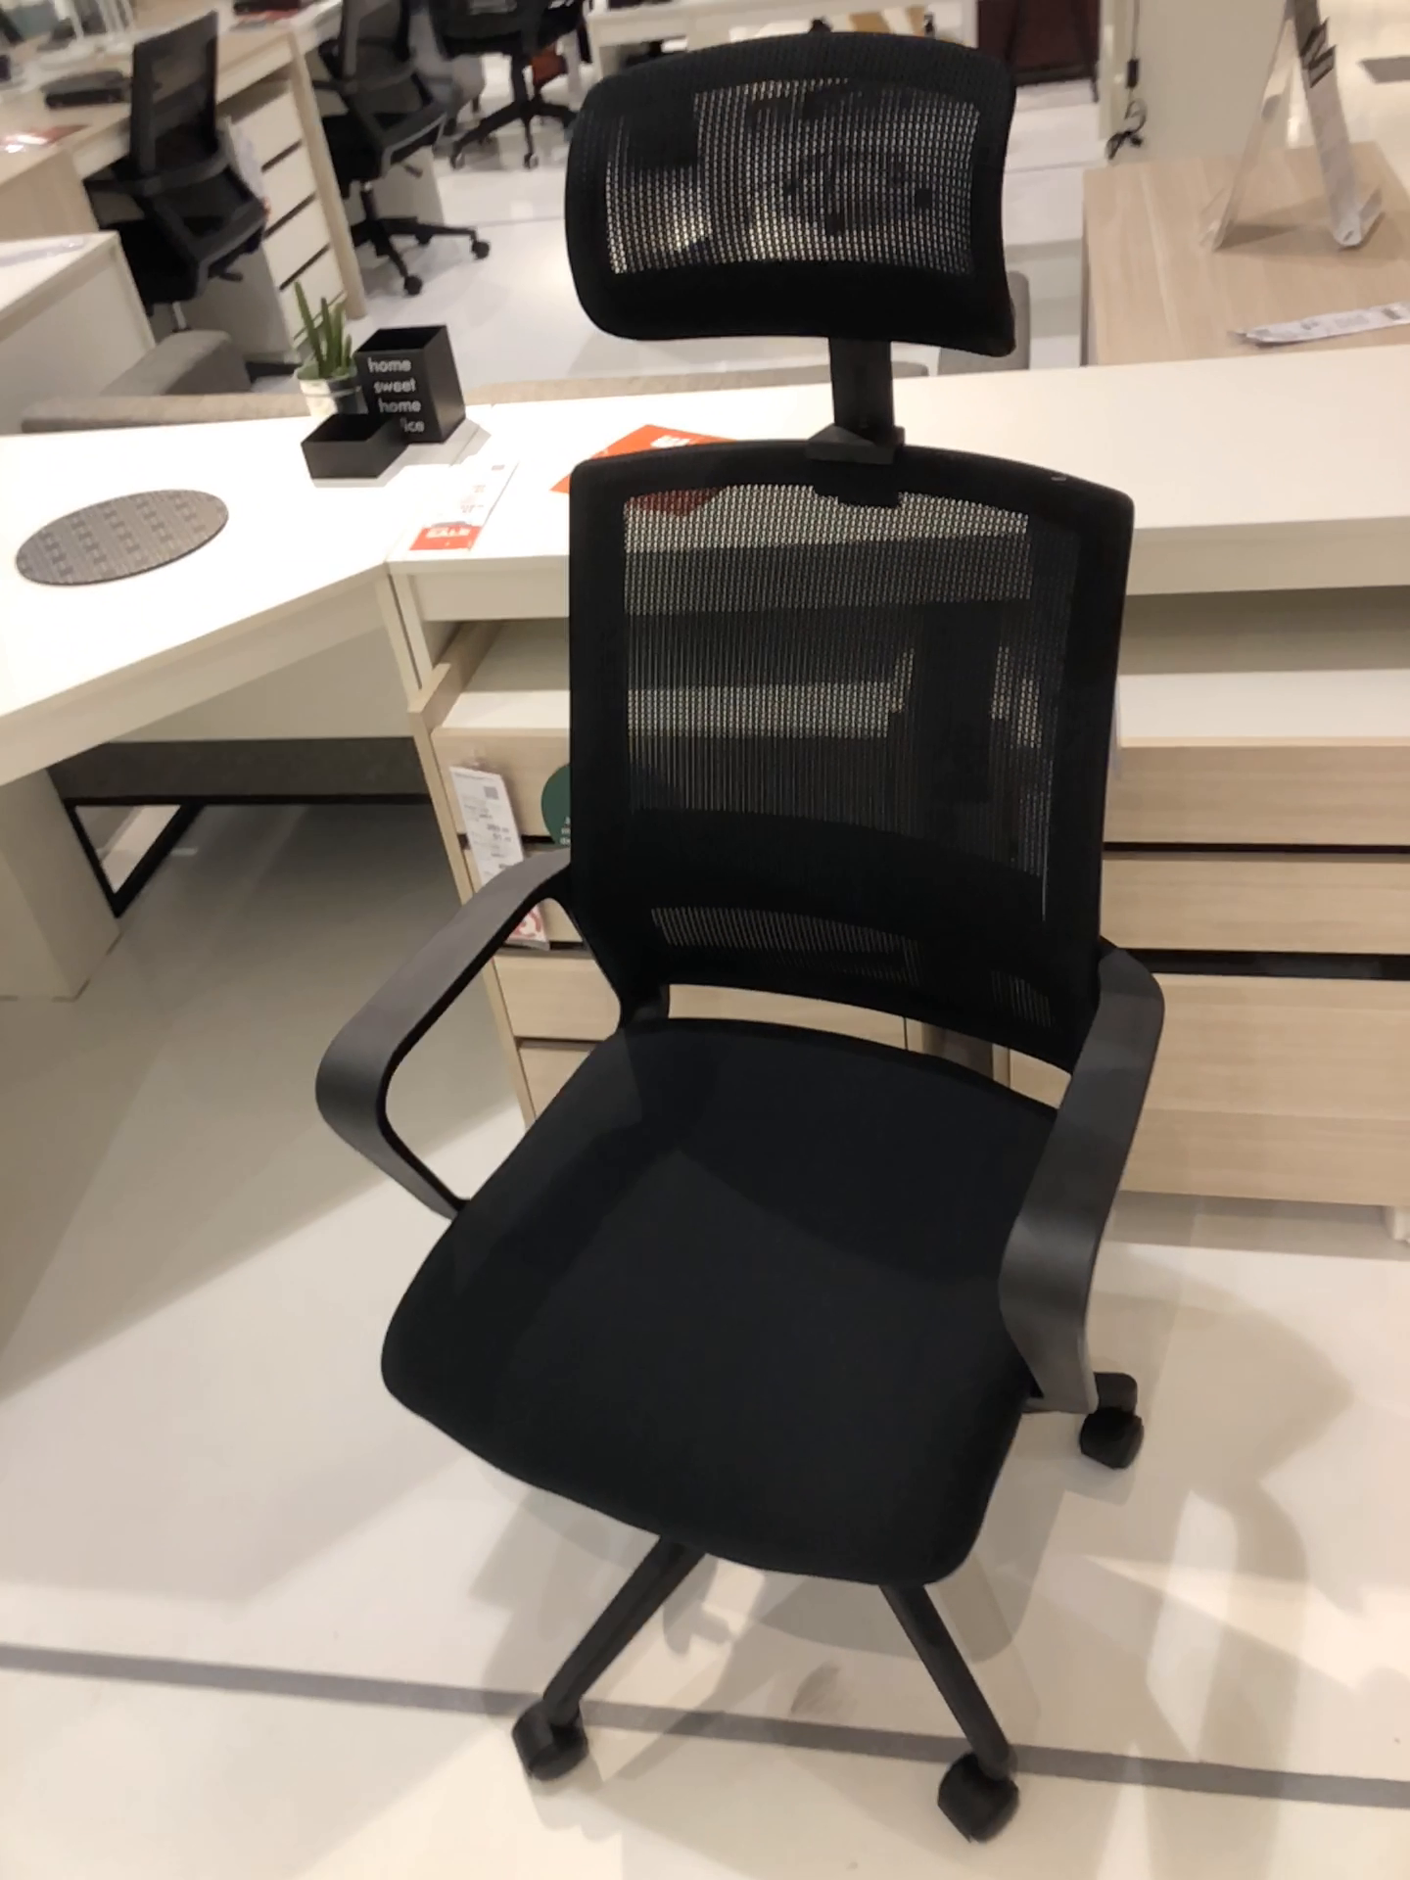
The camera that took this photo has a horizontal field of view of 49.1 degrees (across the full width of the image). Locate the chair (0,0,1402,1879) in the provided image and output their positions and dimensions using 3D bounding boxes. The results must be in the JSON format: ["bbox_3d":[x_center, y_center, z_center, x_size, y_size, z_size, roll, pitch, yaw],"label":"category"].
[{"bbox_3d":[0.013,0.068,1.069,0.661,1.132,0.664,10,42,23],"label":"chair"}]
